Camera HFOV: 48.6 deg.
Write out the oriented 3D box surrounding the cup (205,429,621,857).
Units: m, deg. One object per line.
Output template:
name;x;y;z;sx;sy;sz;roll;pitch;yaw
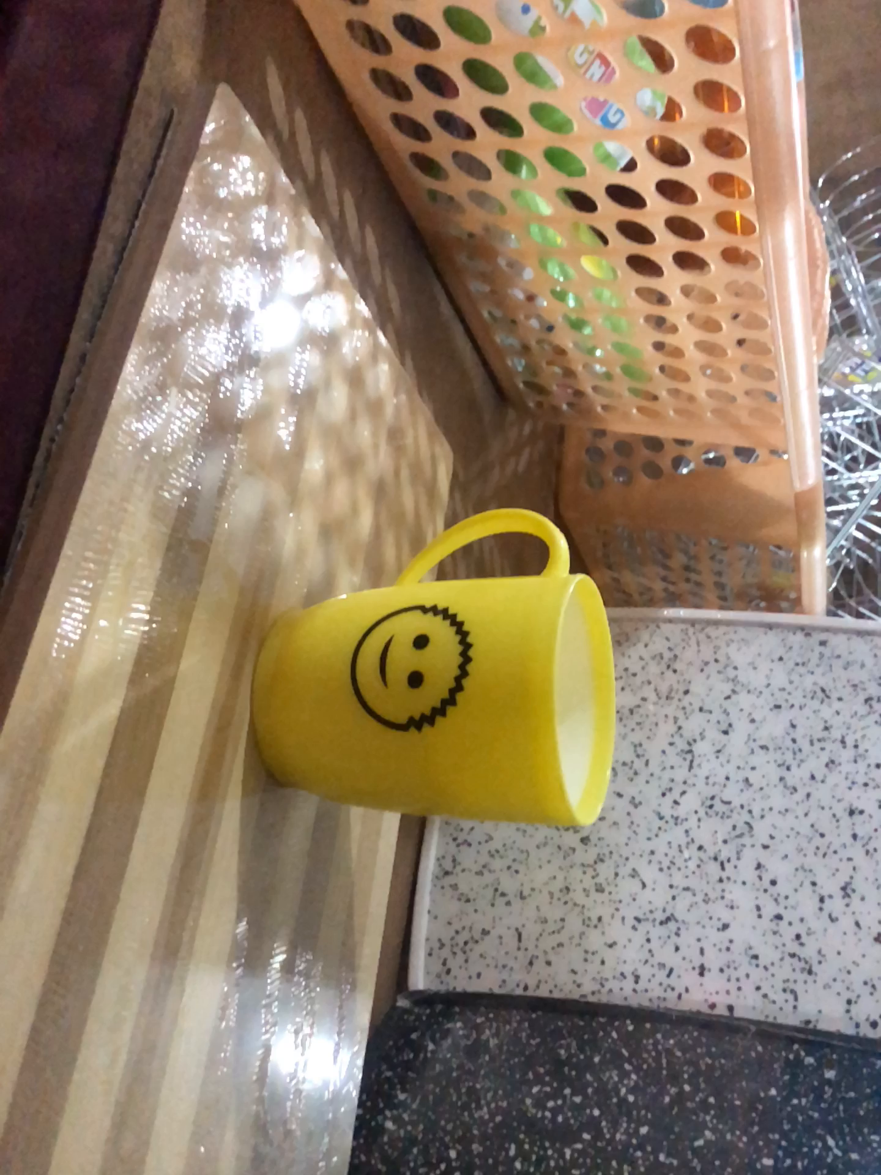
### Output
cup;-0.001;0.023;0.317;0.080;0.099;0.110;48;43;-58
